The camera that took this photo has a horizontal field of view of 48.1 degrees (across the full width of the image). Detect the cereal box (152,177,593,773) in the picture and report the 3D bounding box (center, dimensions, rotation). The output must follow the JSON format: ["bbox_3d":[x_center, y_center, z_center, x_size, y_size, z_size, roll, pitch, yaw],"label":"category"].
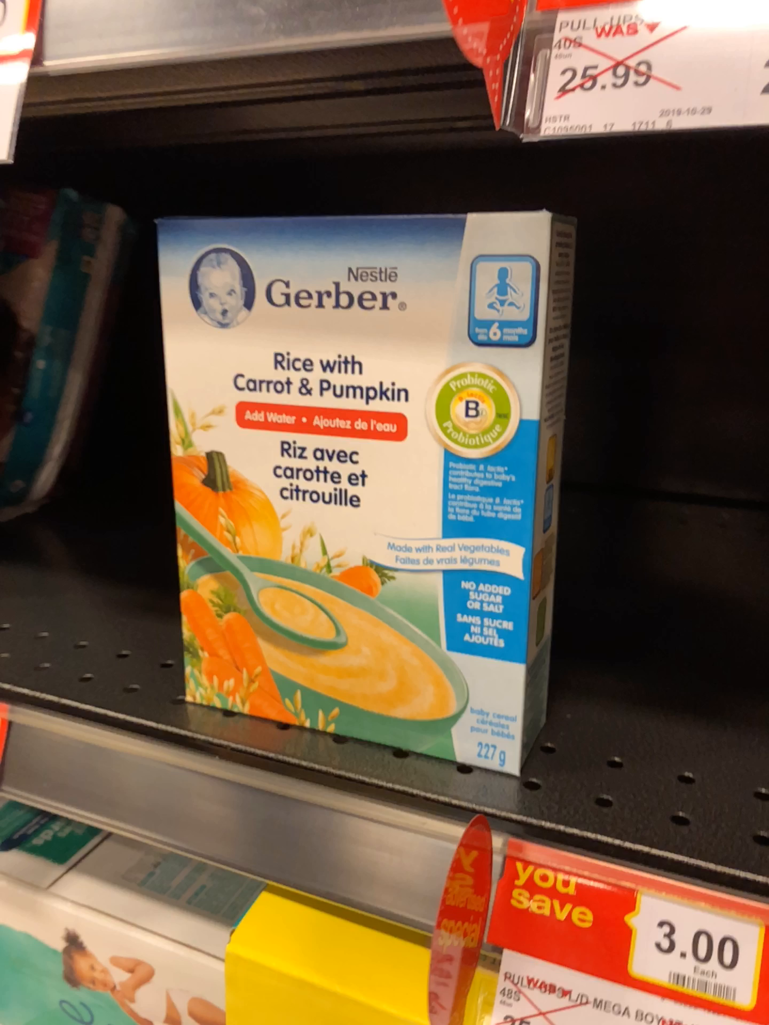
[{"bbox_3d":[-0.007,-0.016,0.326,0.150,0.199,0.040,7,17,22],"label":"cereal box"}]
